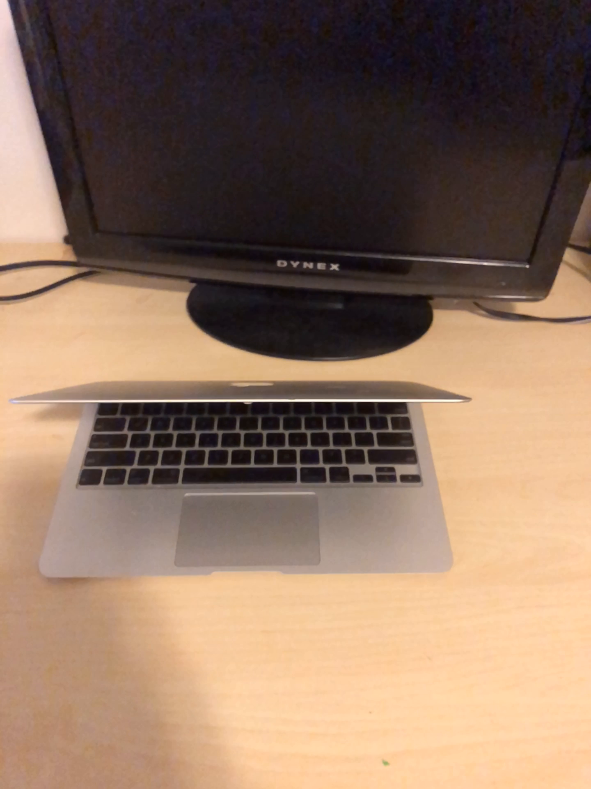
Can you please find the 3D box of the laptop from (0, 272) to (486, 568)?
[{"bbox_3d":[-0.034,0.013,0.491,0.287,0.127,0.190,0,44,-1],"label":"laptop"}]
